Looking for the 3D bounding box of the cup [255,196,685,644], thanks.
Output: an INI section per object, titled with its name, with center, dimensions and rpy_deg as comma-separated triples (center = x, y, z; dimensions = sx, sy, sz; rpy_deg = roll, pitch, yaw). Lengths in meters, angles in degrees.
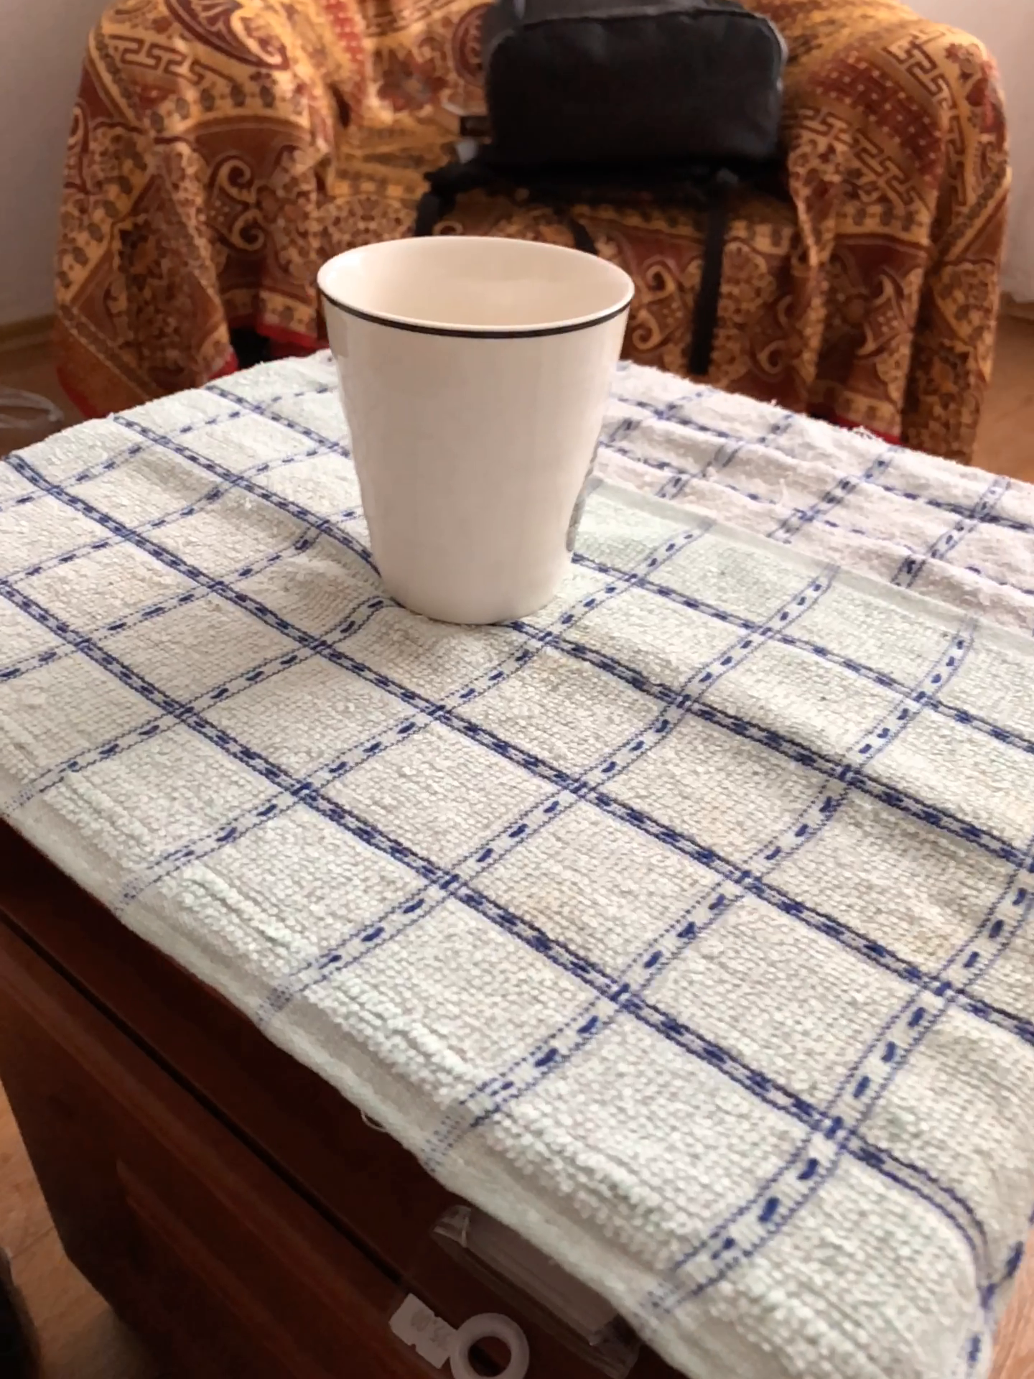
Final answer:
[cup]
center = -0.022, -0.093, 0.364
dimensions = 0.090, 0.090, 0.124
rpy_deg = -11, 38, -19
